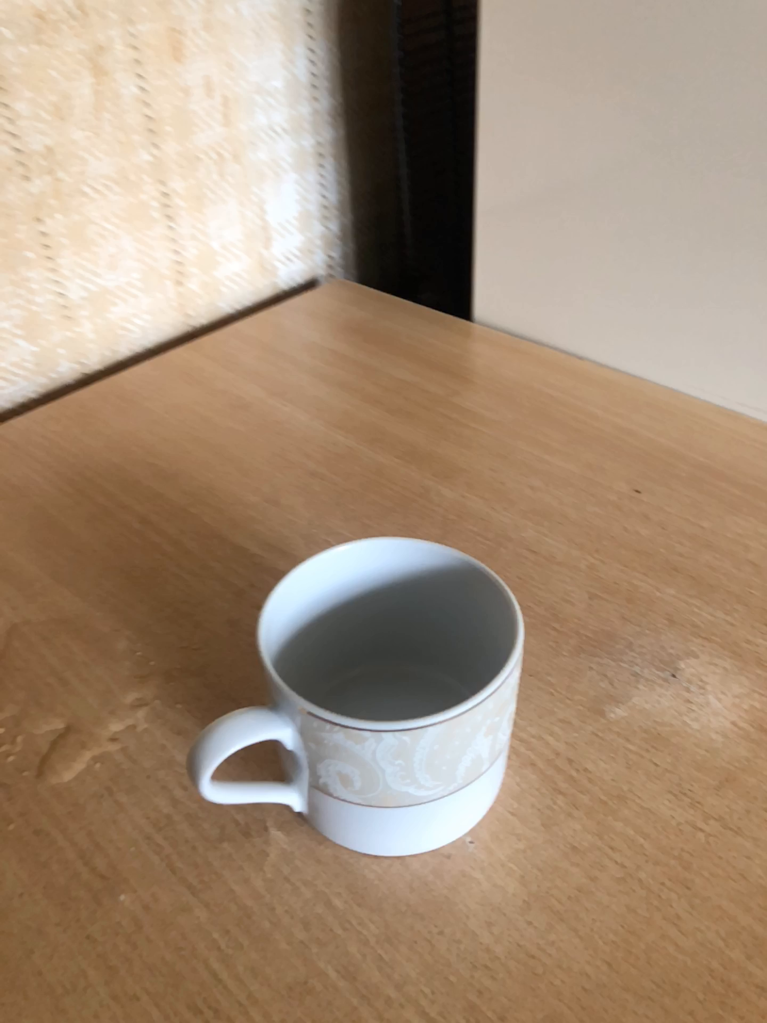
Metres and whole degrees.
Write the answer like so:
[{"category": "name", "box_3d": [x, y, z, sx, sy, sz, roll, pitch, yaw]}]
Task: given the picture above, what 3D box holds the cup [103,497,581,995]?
[{"category": "cup", "box_3d": [-0.010, 0.061, 0.248, 0.105, 0.069, 0.075, -25, 42, -26]}]
